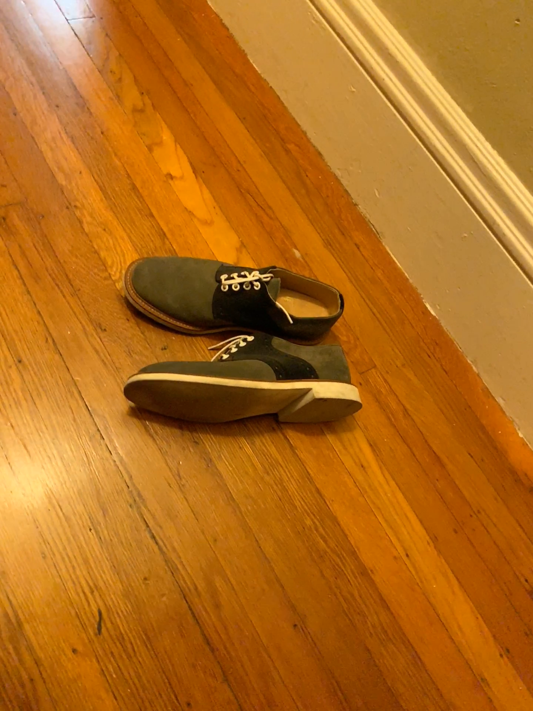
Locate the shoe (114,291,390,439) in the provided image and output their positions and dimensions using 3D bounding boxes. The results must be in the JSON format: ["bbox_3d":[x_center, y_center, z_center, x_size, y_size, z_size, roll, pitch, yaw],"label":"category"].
[{"bbox_3d":[-0.024,0.021,0.687,0.310,0.130,0.120,4,61,-16],"label":"shoe"}]

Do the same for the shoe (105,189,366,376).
[{"bbox_3d":[-0.036,-0.089,0.716,0.310,0.100,0.130,15,61,-11],"label":"shoe"}]
